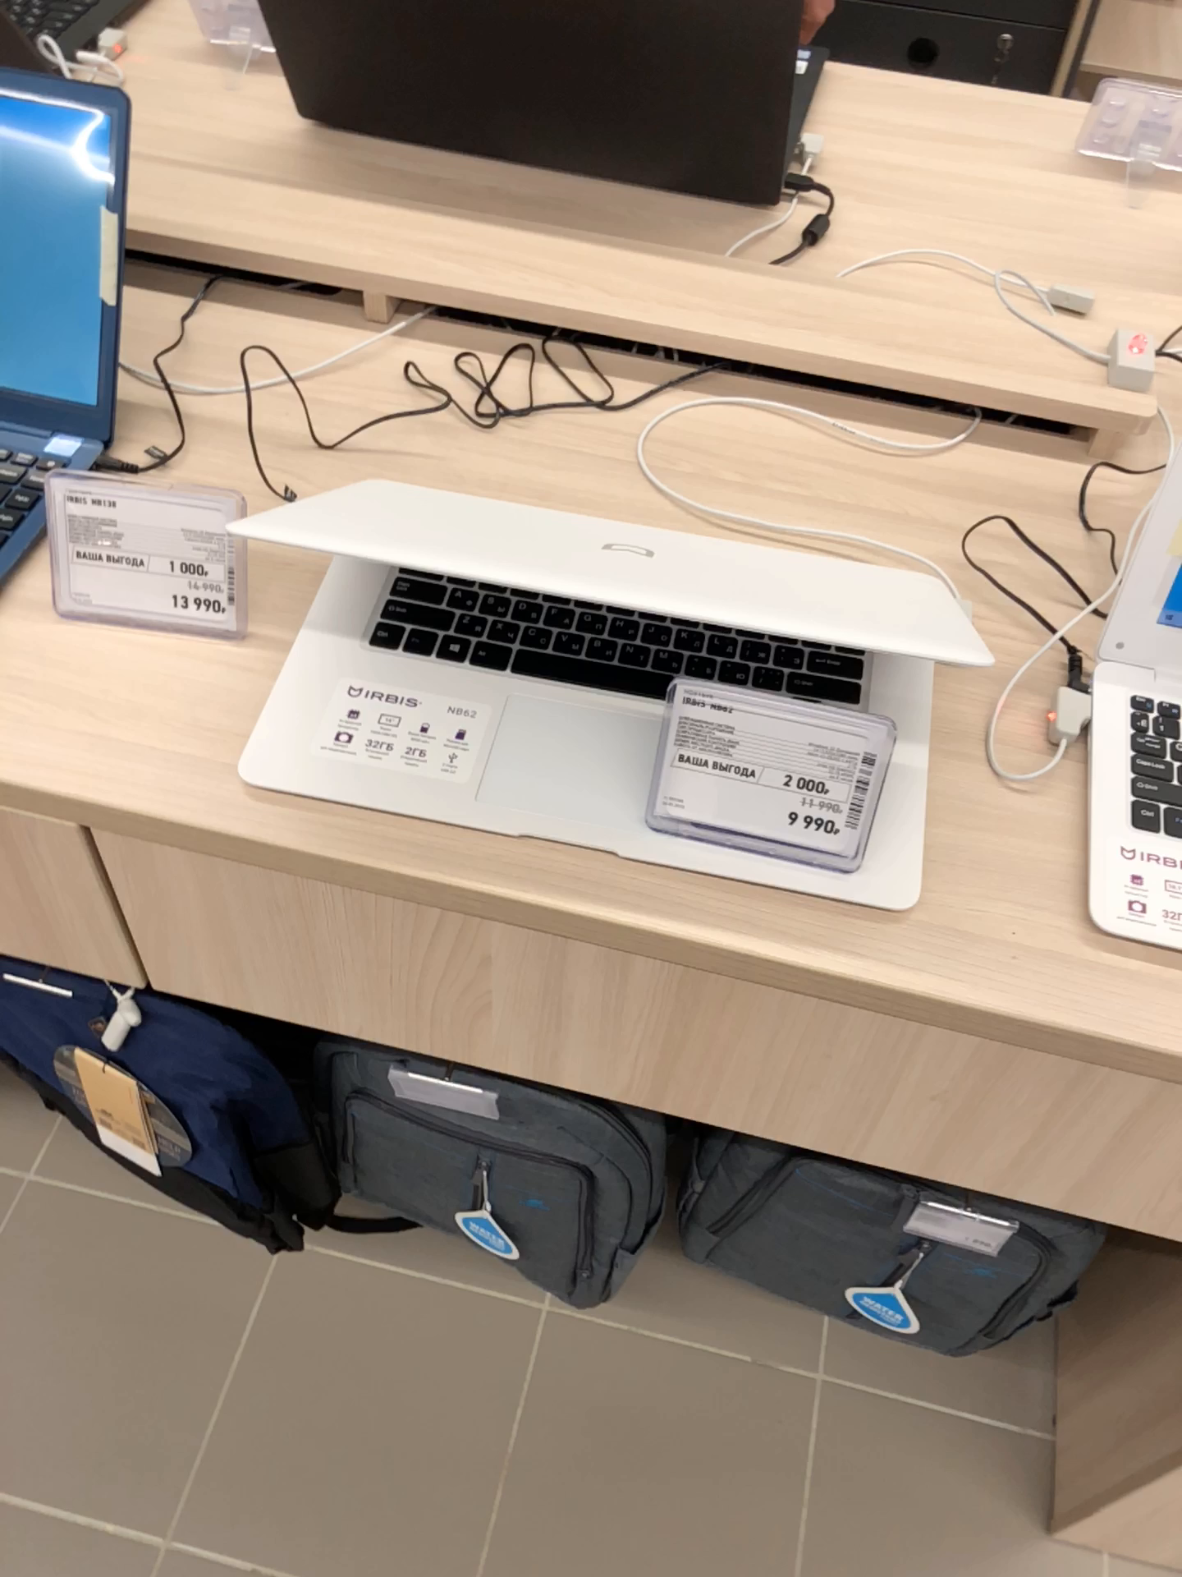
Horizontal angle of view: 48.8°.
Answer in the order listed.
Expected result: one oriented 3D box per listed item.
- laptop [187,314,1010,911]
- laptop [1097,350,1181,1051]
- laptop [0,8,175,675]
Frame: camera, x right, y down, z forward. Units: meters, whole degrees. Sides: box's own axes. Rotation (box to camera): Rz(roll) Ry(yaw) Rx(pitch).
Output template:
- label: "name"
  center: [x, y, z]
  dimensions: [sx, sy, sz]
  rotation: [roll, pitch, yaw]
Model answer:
- label: "laptop"
  center: [0.017, -0.097, 0.659]
  dimensions: [0.350, 0.115, 0.224]
  rotation: [11, 54, 5]
- label: "laptop"
  center: [0.407, -0.048, 0.611]
  dimensions: [0.263, 0.168, 0.231]
  rotation: [13, 52, 8]
- label: "laptop"
  center: [-0.462, -0.266, 0.737]
  dimensions: [0.309, 0.162, 0.320]
  rotation: [12, 52, 5]
